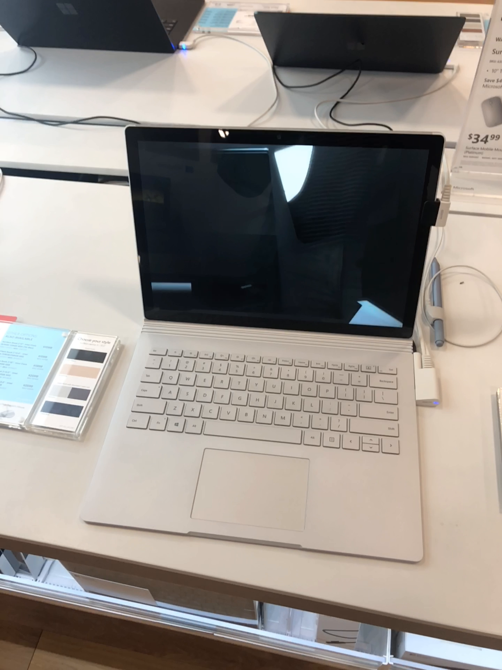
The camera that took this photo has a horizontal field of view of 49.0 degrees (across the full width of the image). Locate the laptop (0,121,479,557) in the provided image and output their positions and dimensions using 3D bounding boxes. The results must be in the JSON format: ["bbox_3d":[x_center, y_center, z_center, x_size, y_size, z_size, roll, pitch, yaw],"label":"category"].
[{"bbox_3d":[0.008,-0.011,0.496,0.291,0.191,0.312,4,53,7],"label":"laptop"}]
